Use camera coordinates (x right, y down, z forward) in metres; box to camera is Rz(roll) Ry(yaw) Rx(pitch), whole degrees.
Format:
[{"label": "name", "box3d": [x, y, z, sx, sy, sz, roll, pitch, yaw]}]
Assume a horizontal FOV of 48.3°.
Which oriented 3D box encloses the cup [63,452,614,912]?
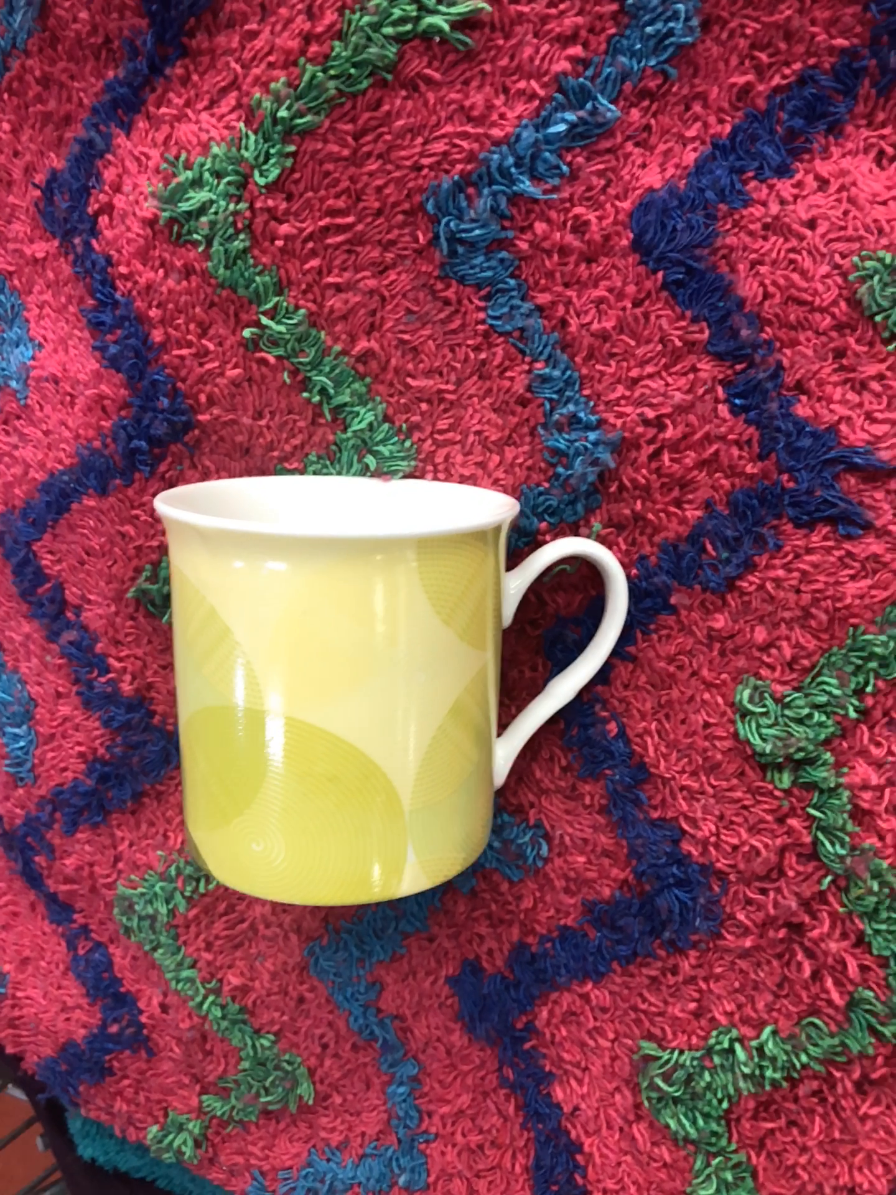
[{"label": "cup", "box3d": [-0.024, 0.013, 0.250, 0.110, 0.080, 0.090, -2, 103, -5]}]
